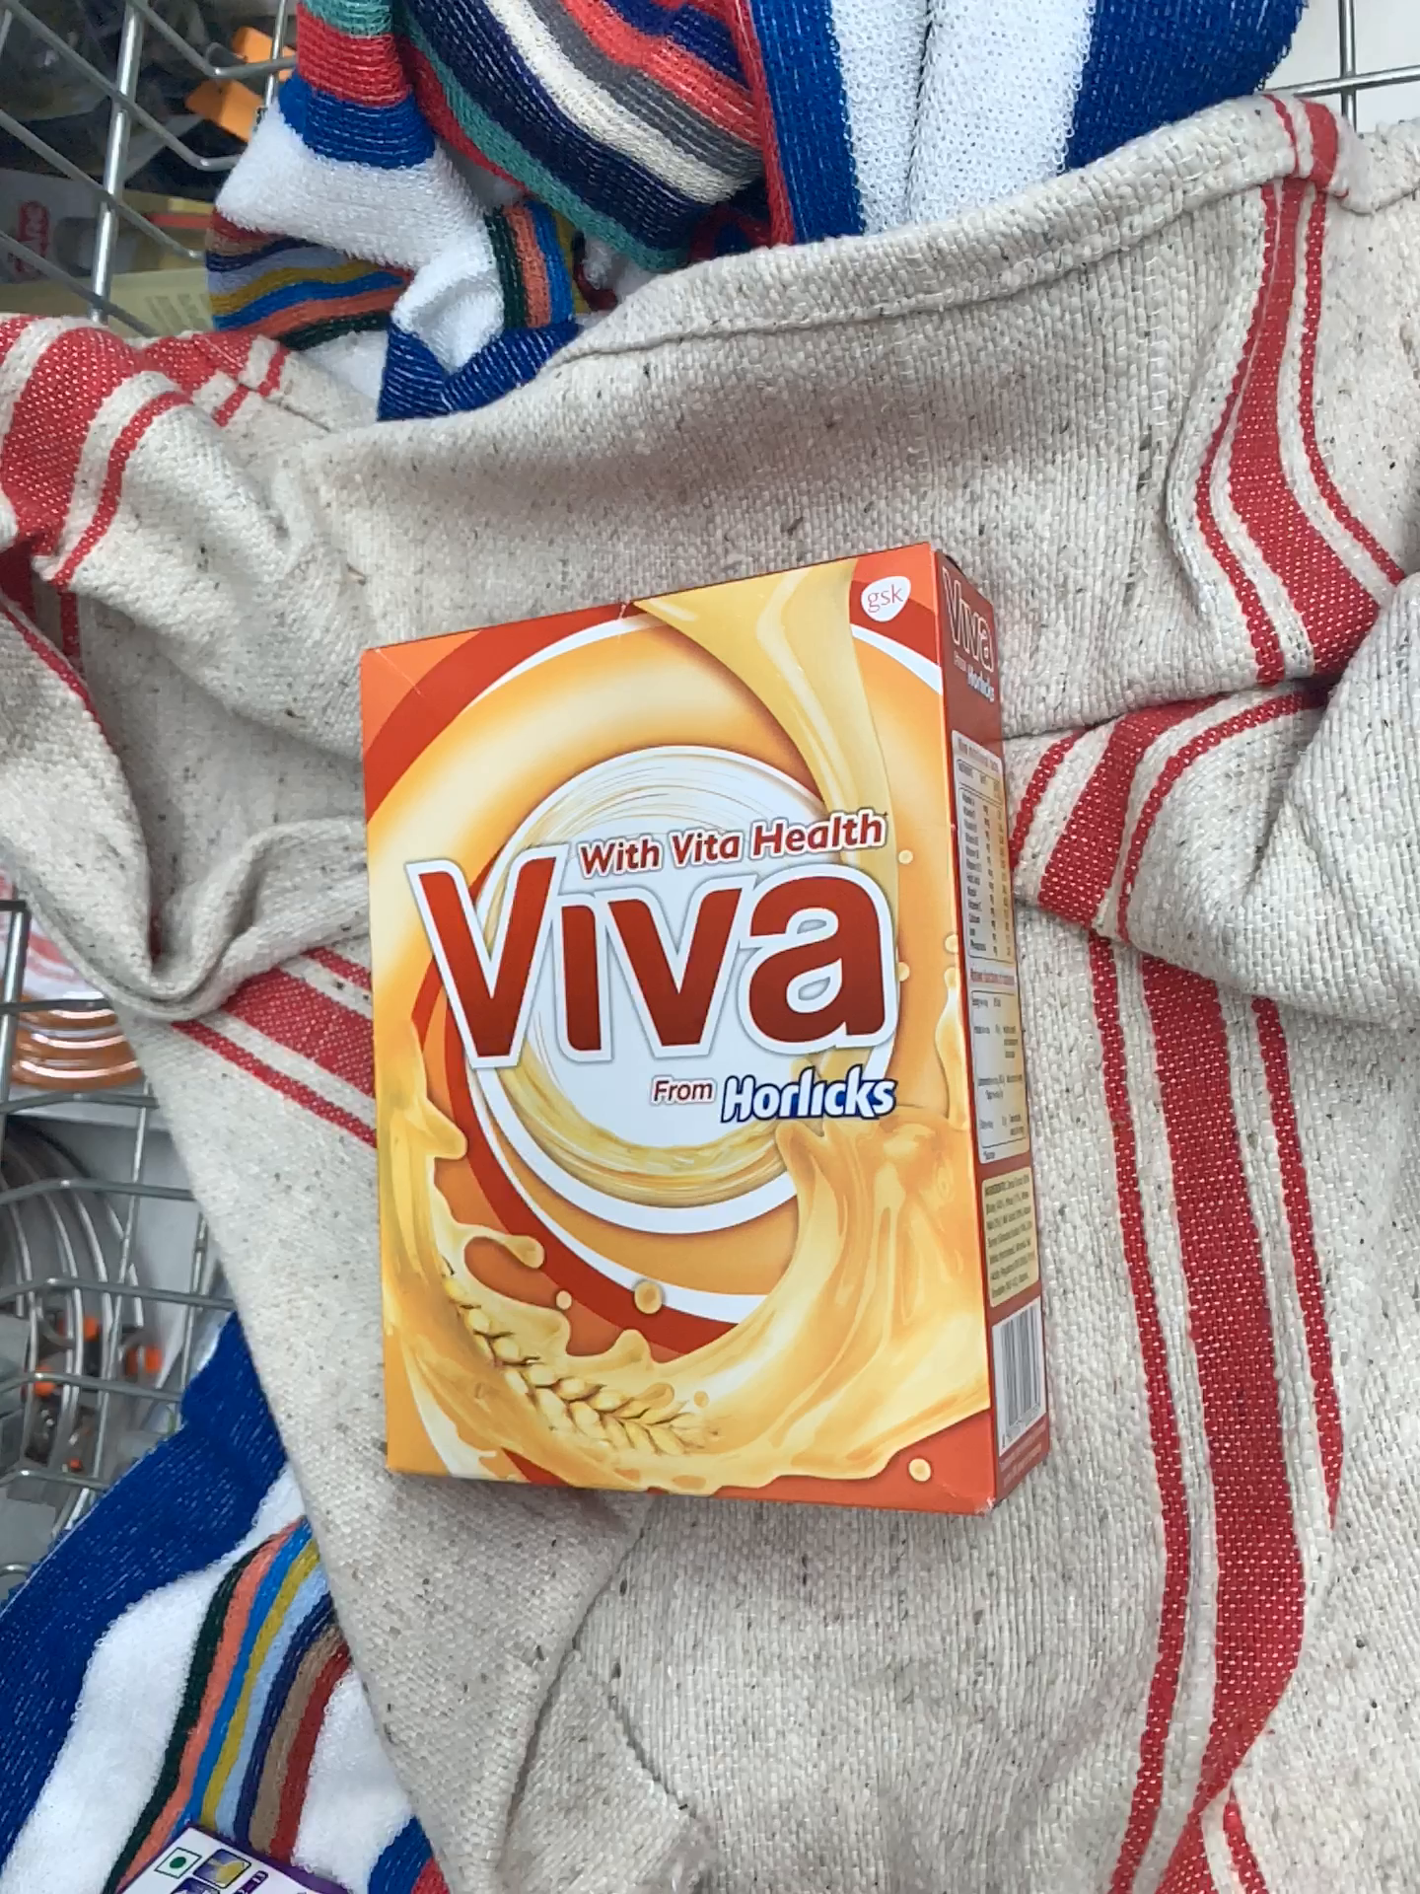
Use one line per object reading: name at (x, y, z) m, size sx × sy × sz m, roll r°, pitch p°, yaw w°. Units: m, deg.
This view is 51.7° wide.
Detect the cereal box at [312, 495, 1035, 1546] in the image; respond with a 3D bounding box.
cereal box at (-0.008, 0.019, 0.336) m, size 0.140 × 0.070 × 0.200 m, roll -5°, pitch 85°, yaw 20°
